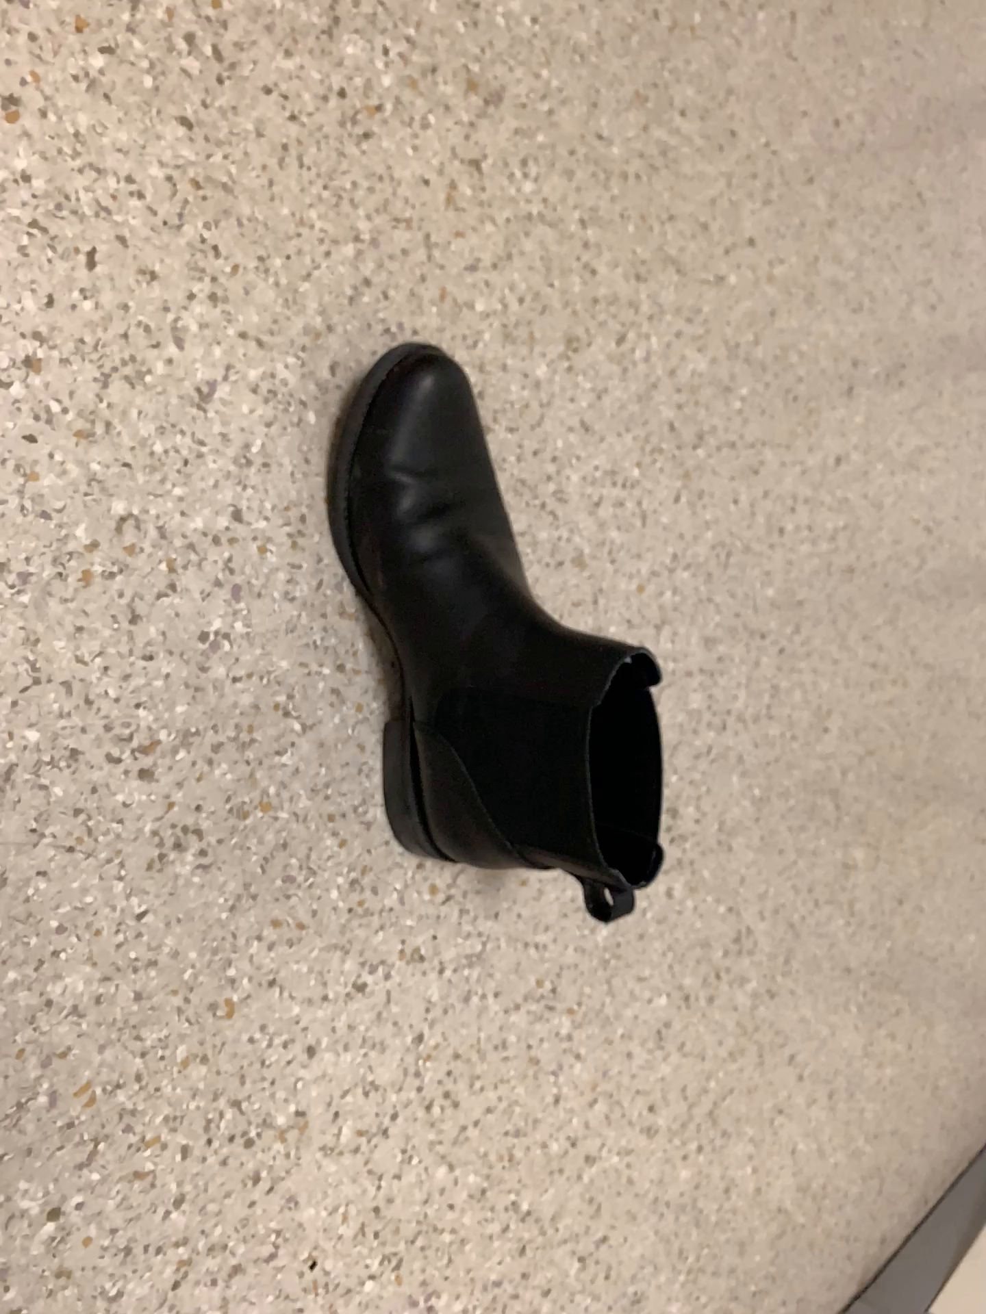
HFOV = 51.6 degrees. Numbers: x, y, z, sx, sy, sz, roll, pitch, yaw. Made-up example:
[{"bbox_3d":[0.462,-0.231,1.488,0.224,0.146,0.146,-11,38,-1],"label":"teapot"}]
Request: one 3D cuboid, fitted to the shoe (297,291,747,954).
[{"bbox_3d":[0.015,-0.020,0.496,0.108,0.147,0.270,-18,103,-42],"label":"shoe"}]
